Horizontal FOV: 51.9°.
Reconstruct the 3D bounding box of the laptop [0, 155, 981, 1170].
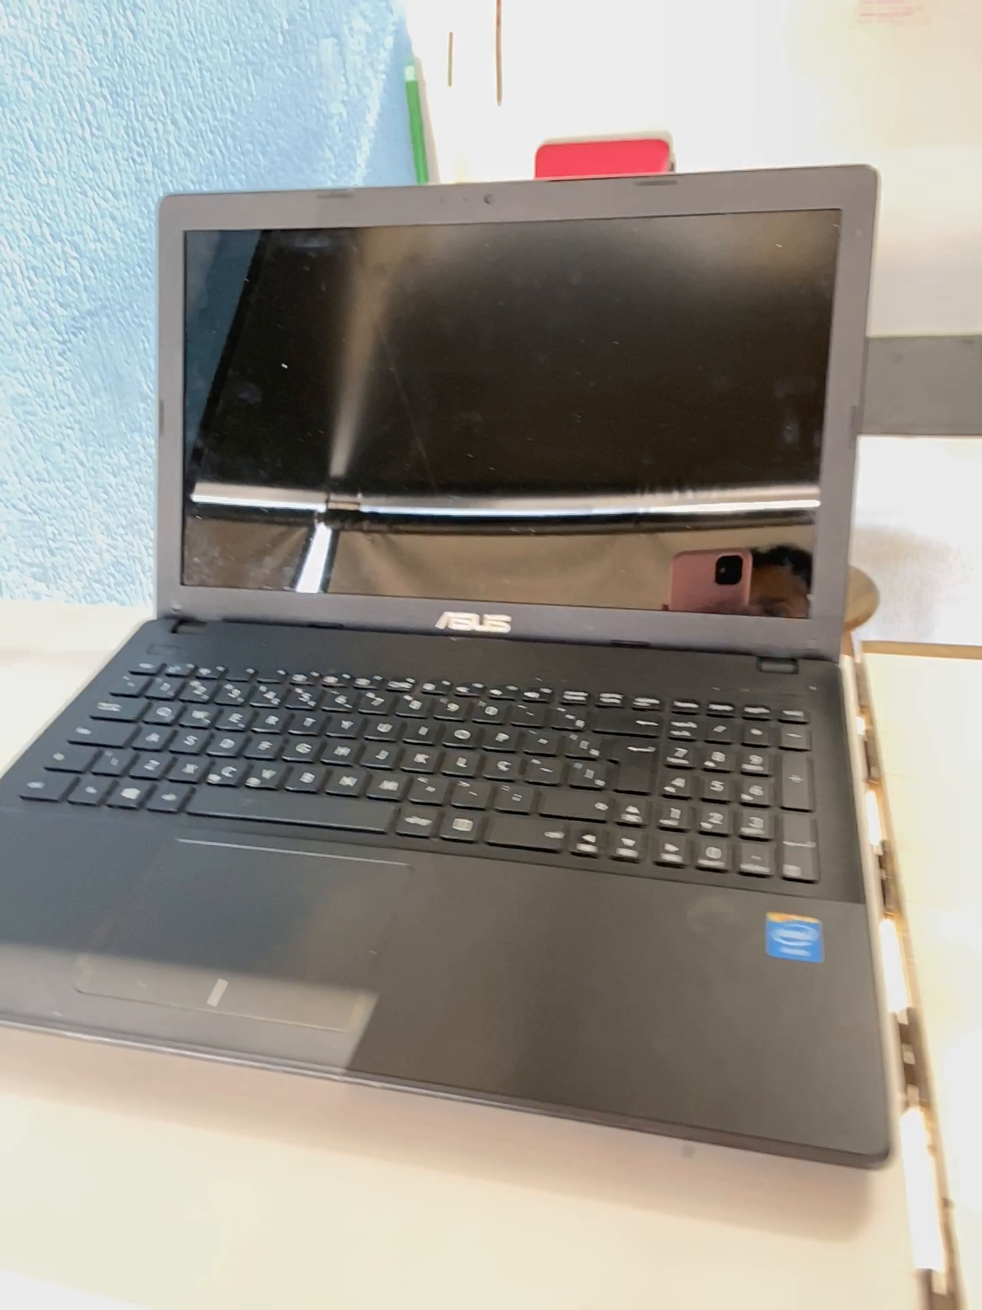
[{"bbox_3d":[-0.034,-0.053,0.416,0.367,0.201,0.363,3,34,15],"label":"laptop"}]
